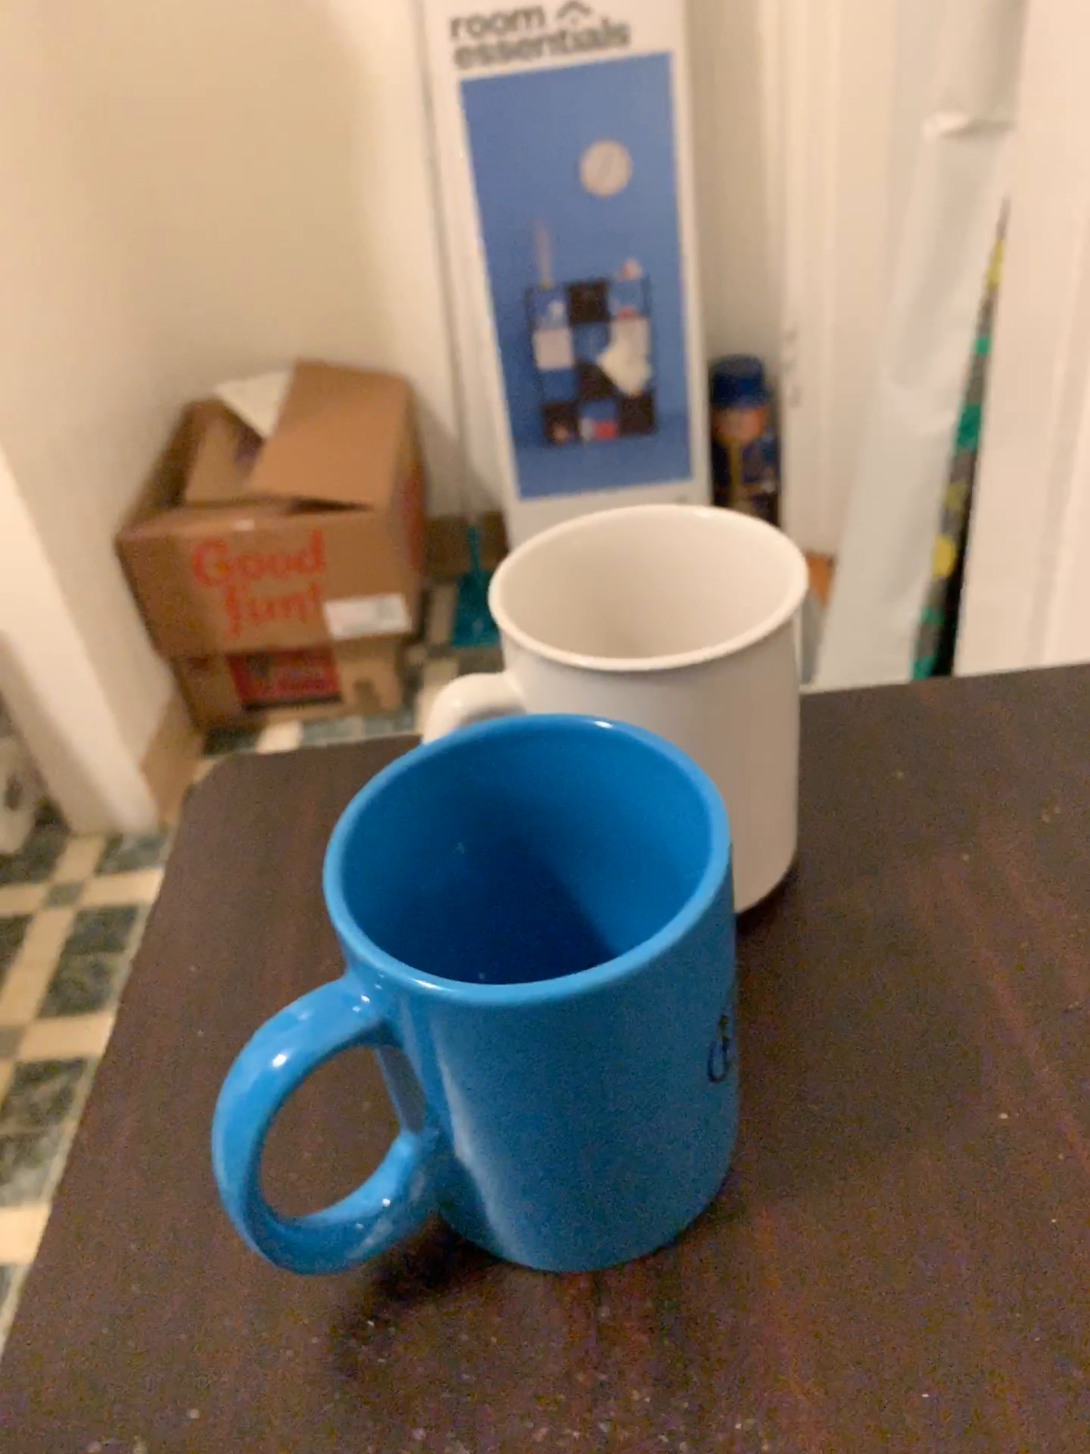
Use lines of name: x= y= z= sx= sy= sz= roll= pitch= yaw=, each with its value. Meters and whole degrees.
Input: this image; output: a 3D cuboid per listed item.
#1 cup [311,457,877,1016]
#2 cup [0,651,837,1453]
cup: x=0.012 y=-0.002 z=0.318 sx=0.120 sy=0.089 sz=0.091 roll=-18 pitch=38 yaw=-11
cup: x=-0.023 y=0.071 z=0.244 sx=0.140 sy=0.099 sz=0.090 roll=-27 pitch=41 yaw=-23
